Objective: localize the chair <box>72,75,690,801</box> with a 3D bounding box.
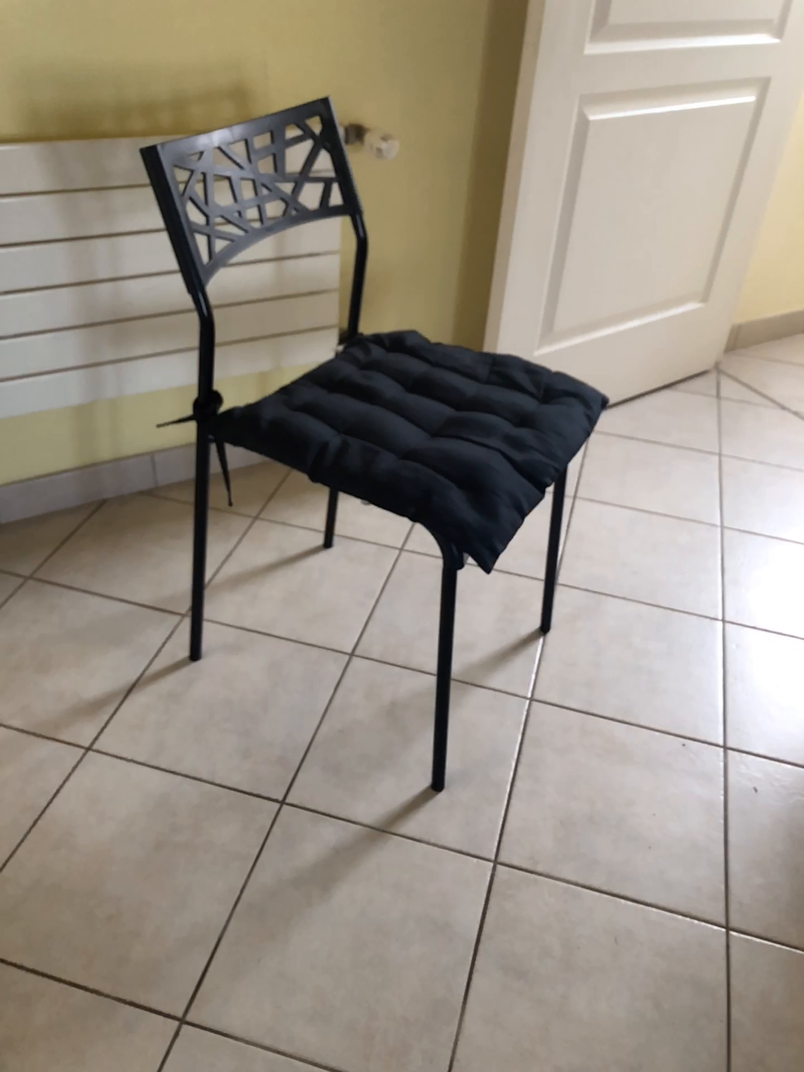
[{"bbox_3d":[-0.014,-0.161,1.235,0.520,0.735,0.524,21,40,20],"label":"chair"}]
